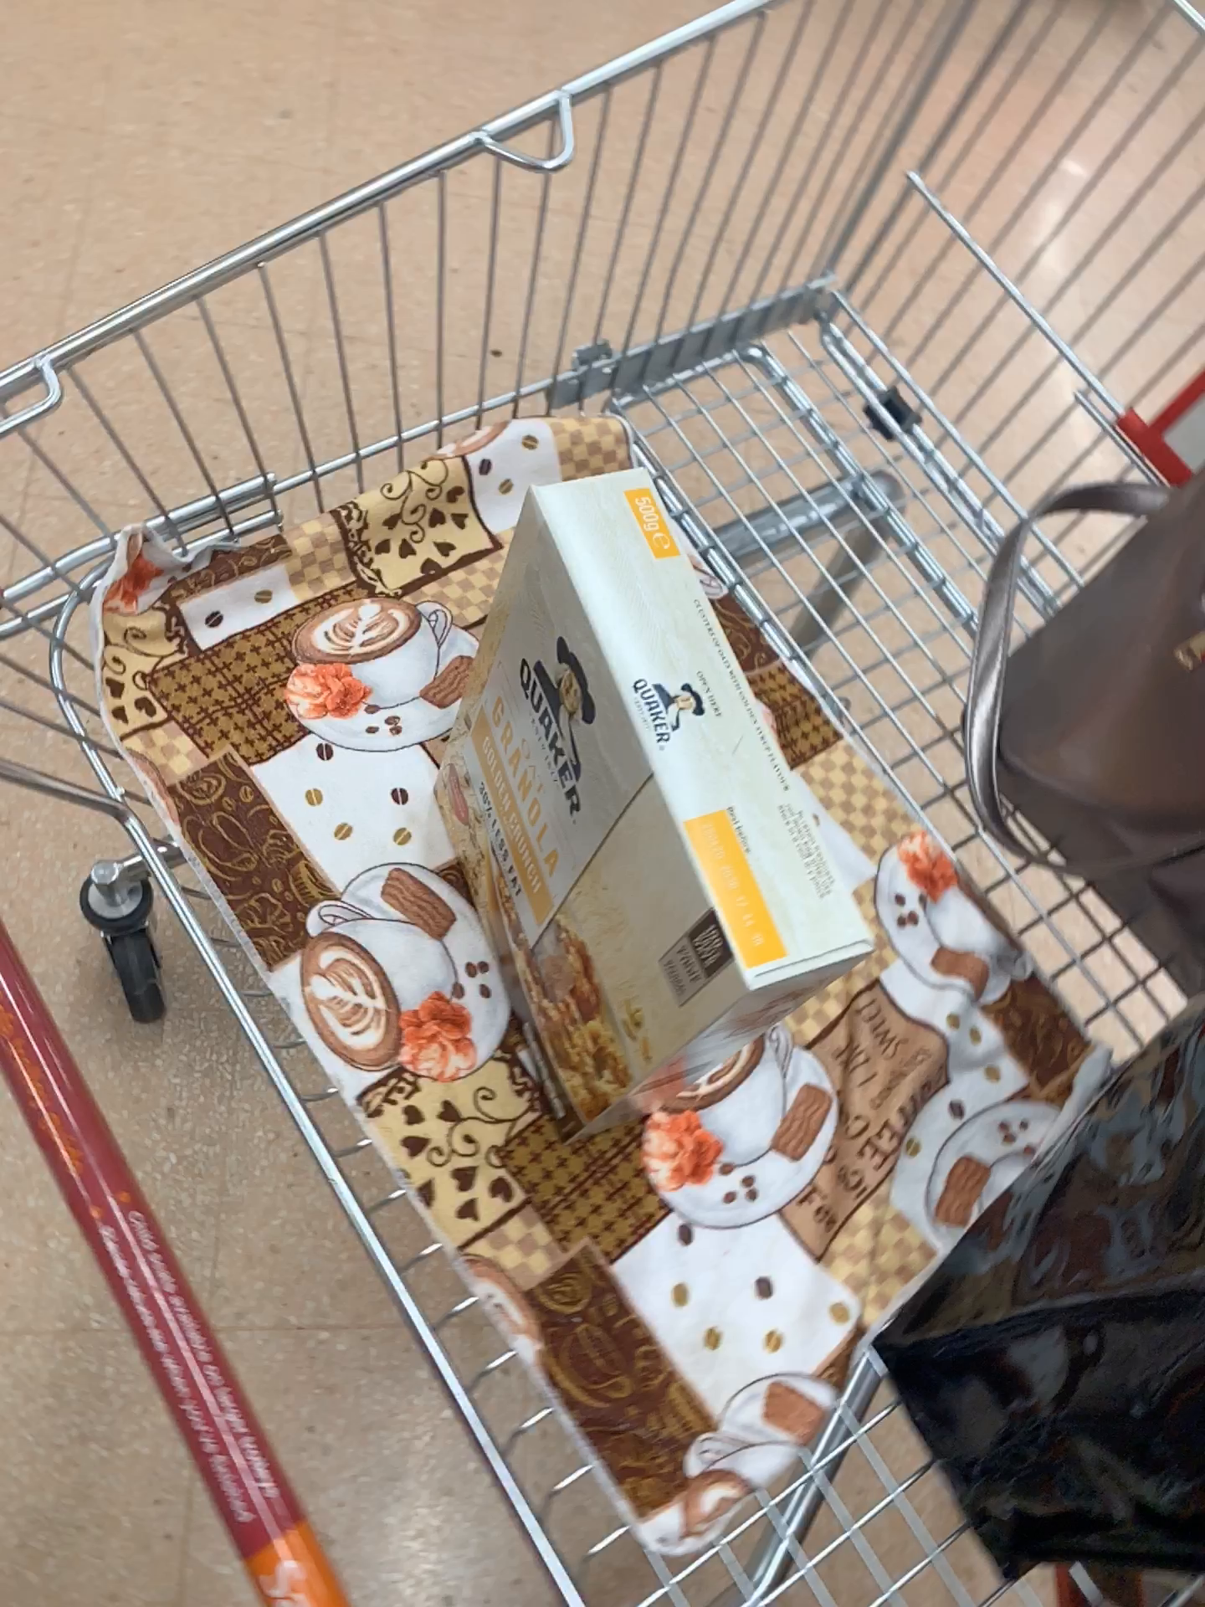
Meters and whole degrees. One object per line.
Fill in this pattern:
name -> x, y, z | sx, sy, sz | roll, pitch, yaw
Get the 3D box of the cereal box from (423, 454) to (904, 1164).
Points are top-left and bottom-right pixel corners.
cereal box -> -0.001, 0.023, 0.514 | 0.050, 0.259, 0.201 | -16, 70, -23
